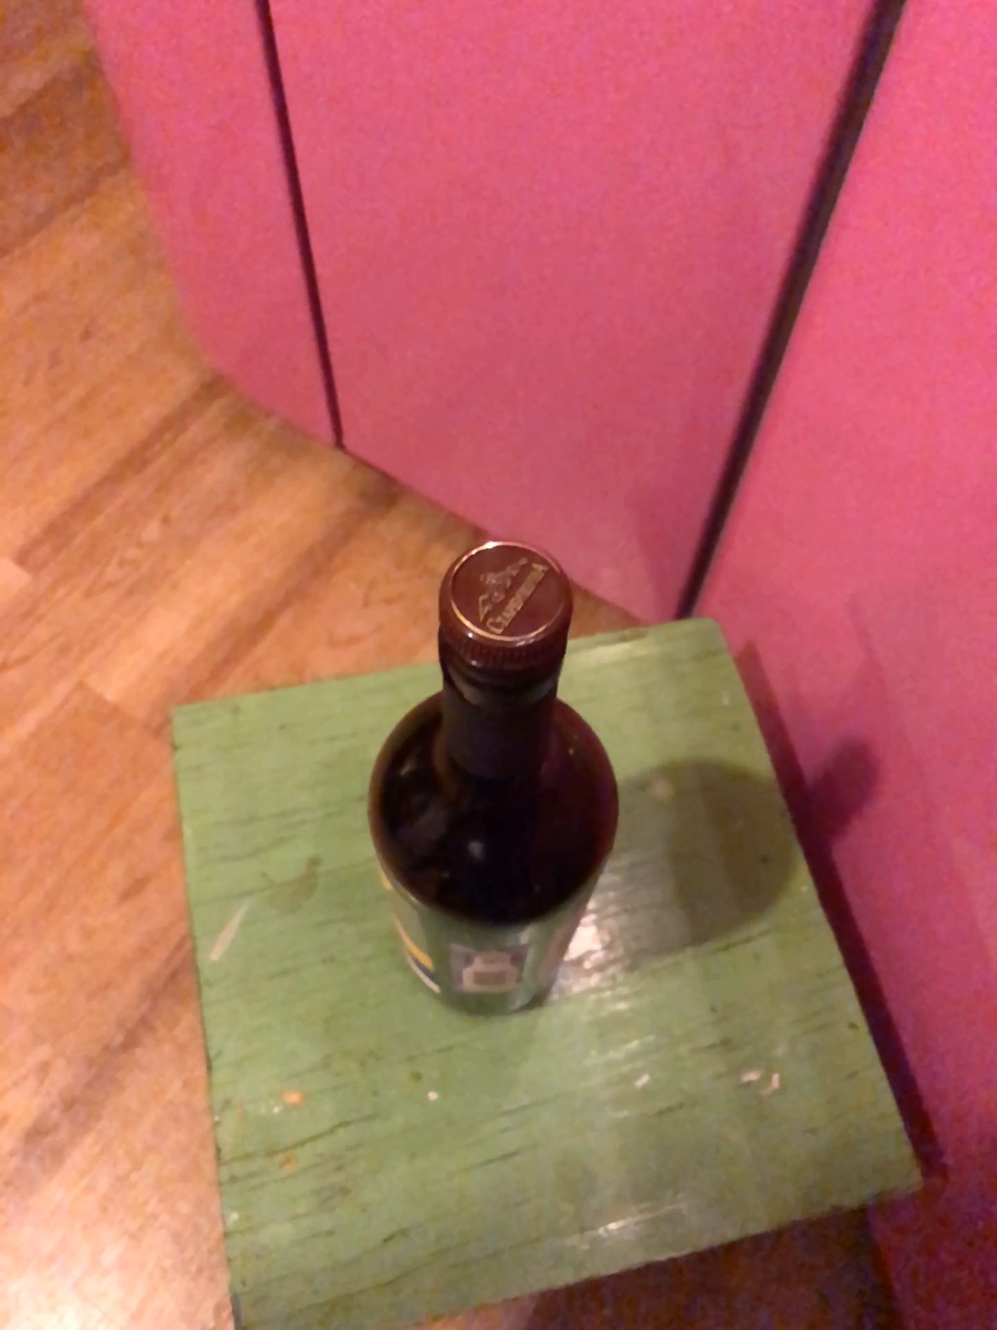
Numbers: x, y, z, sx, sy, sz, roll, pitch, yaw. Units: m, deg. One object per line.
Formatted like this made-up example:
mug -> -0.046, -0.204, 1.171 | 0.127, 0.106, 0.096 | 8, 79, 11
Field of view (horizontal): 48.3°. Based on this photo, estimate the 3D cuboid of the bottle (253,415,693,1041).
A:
bottle -> -0.006, 0.053, 0.361 | 0.071, 0.301, 0.072 | 1, 63, -1
